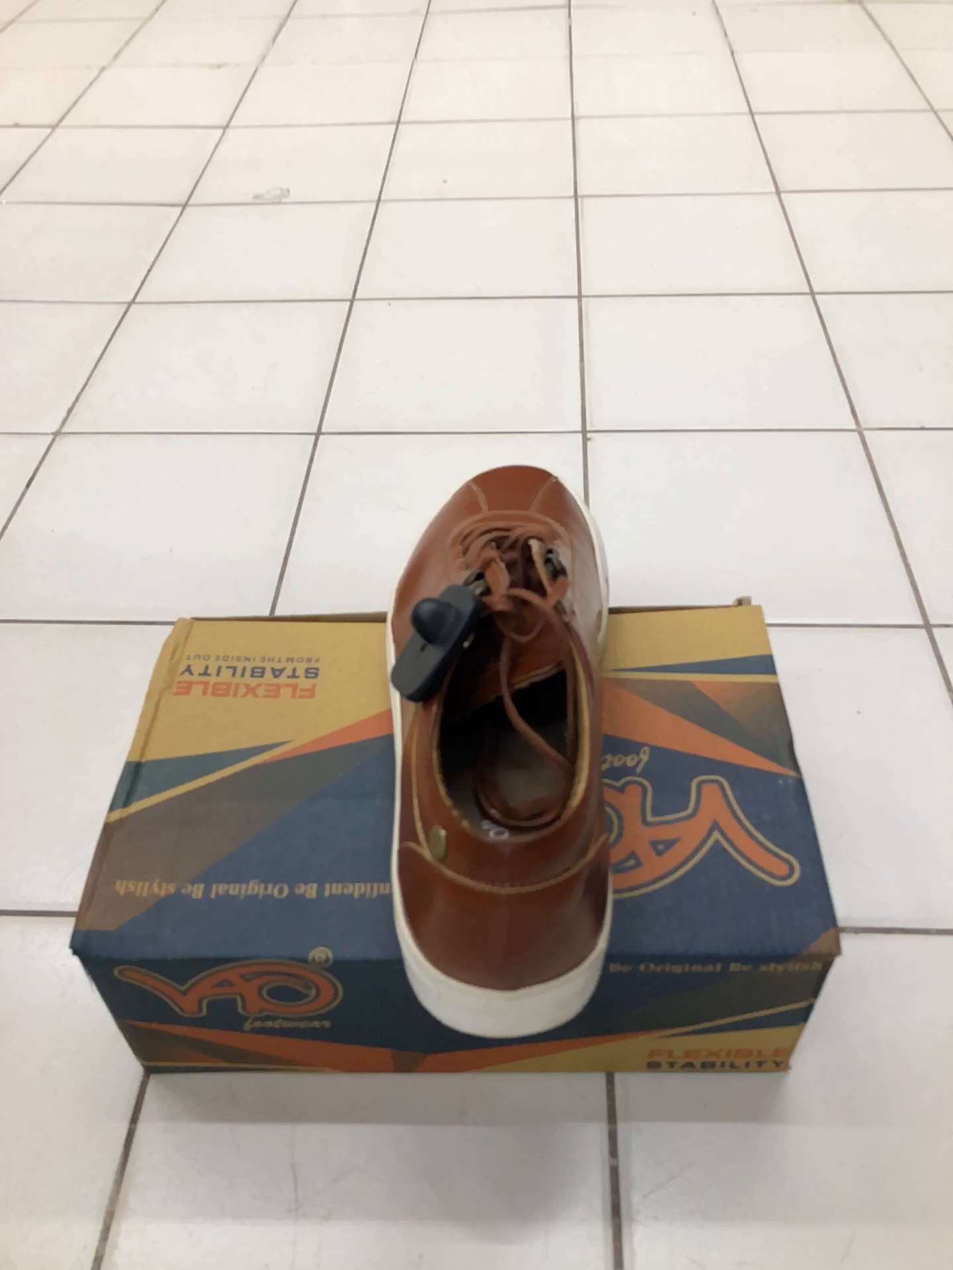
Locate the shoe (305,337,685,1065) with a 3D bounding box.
[{"bbox_3d":[0.009,0.006,0.412,0.100,0.109,0.282,0,46,2],"label":"shoe"}]
